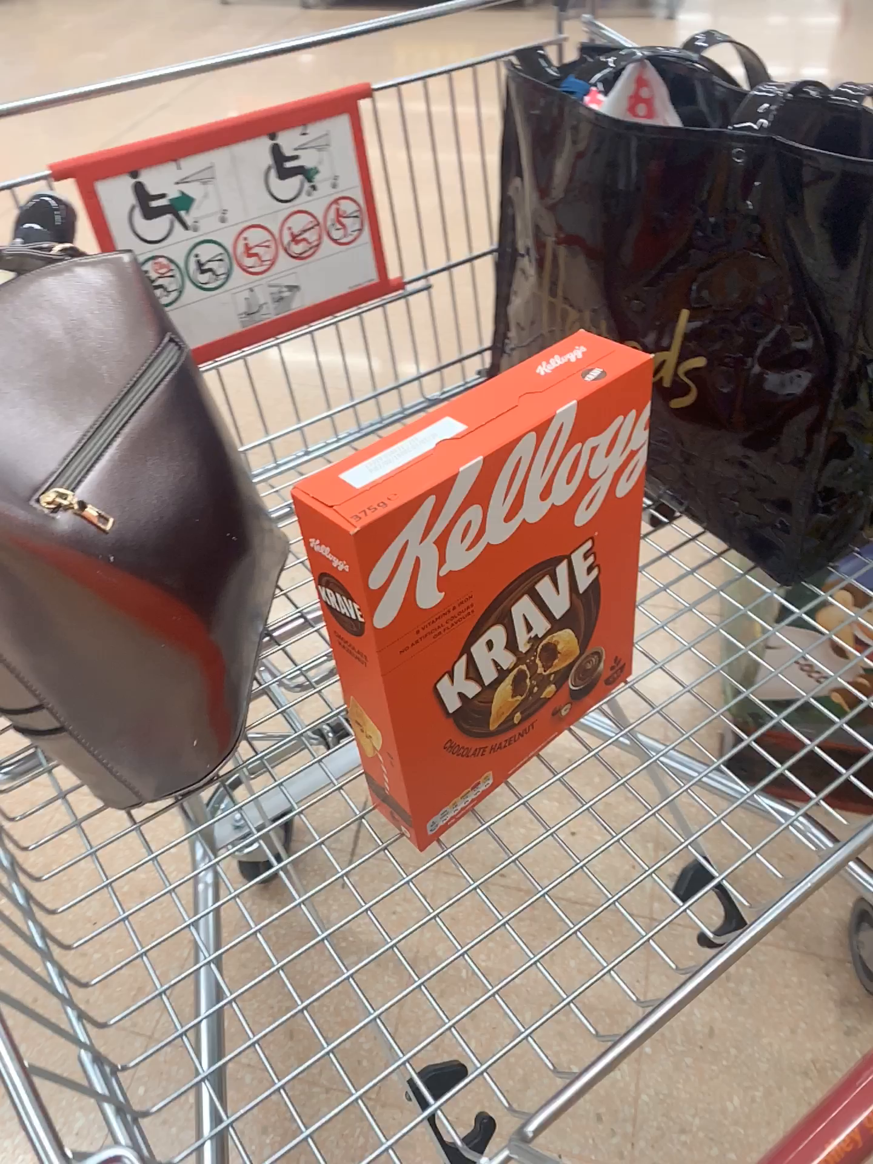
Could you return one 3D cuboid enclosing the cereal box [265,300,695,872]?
[{"bbox_3d":[0.035,0.005,0.461,0.211,0.228,0.050,-33,48,-28],"label":"cereal box"}]
